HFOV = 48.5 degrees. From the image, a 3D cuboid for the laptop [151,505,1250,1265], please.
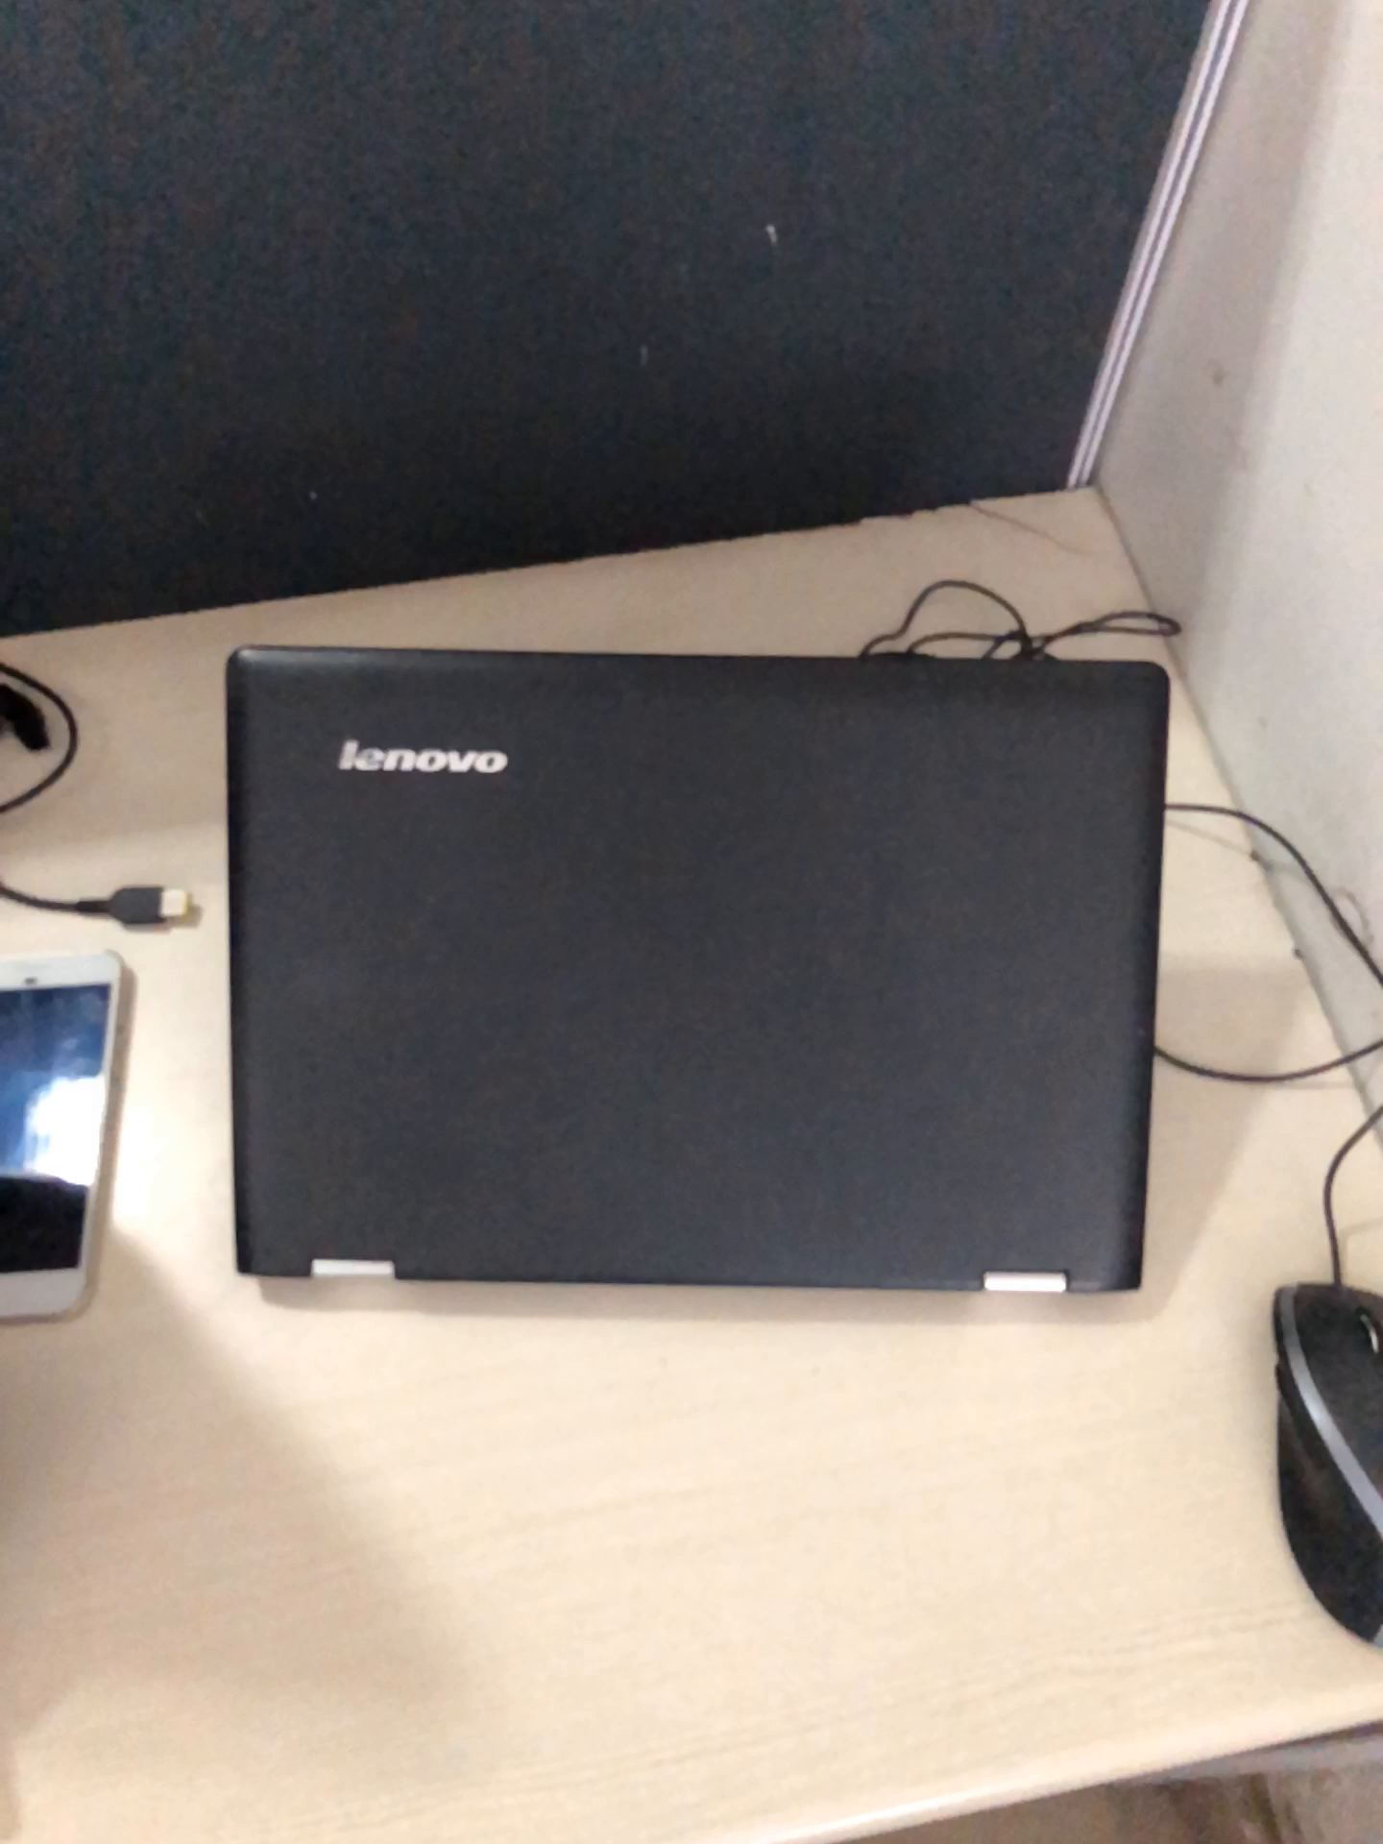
[{"bbox_3d":[0.002,-0.006,0.549,0.323,0.142,0.205,1,67,0],"label":"laptop"}]
